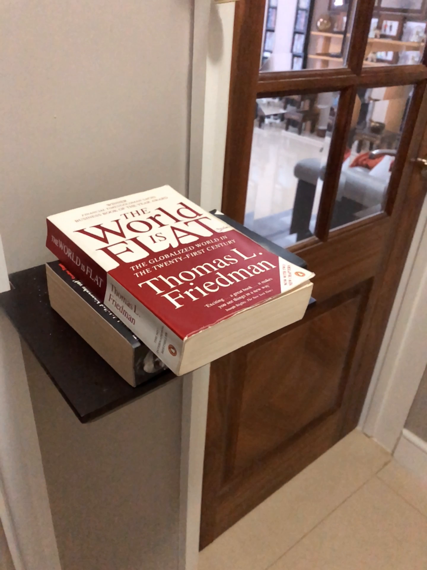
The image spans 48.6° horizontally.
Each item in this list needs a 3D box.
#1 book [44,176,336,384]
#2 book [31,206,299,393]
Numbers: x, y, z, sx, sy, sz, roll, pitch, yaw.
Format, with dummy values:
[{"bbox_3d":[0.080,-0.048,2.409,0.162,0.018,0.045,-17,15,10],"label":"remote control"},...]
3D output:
[{"bbox_3d":[-0.029,-0.025,0.397,0.141,0.040,0.211,-22,42,-33],"label":"book"},{"bbox_3d":[-0.041,-0.005,0.450,0.201,0.040,0.151,-24,49,-41],"label":"book"}]
